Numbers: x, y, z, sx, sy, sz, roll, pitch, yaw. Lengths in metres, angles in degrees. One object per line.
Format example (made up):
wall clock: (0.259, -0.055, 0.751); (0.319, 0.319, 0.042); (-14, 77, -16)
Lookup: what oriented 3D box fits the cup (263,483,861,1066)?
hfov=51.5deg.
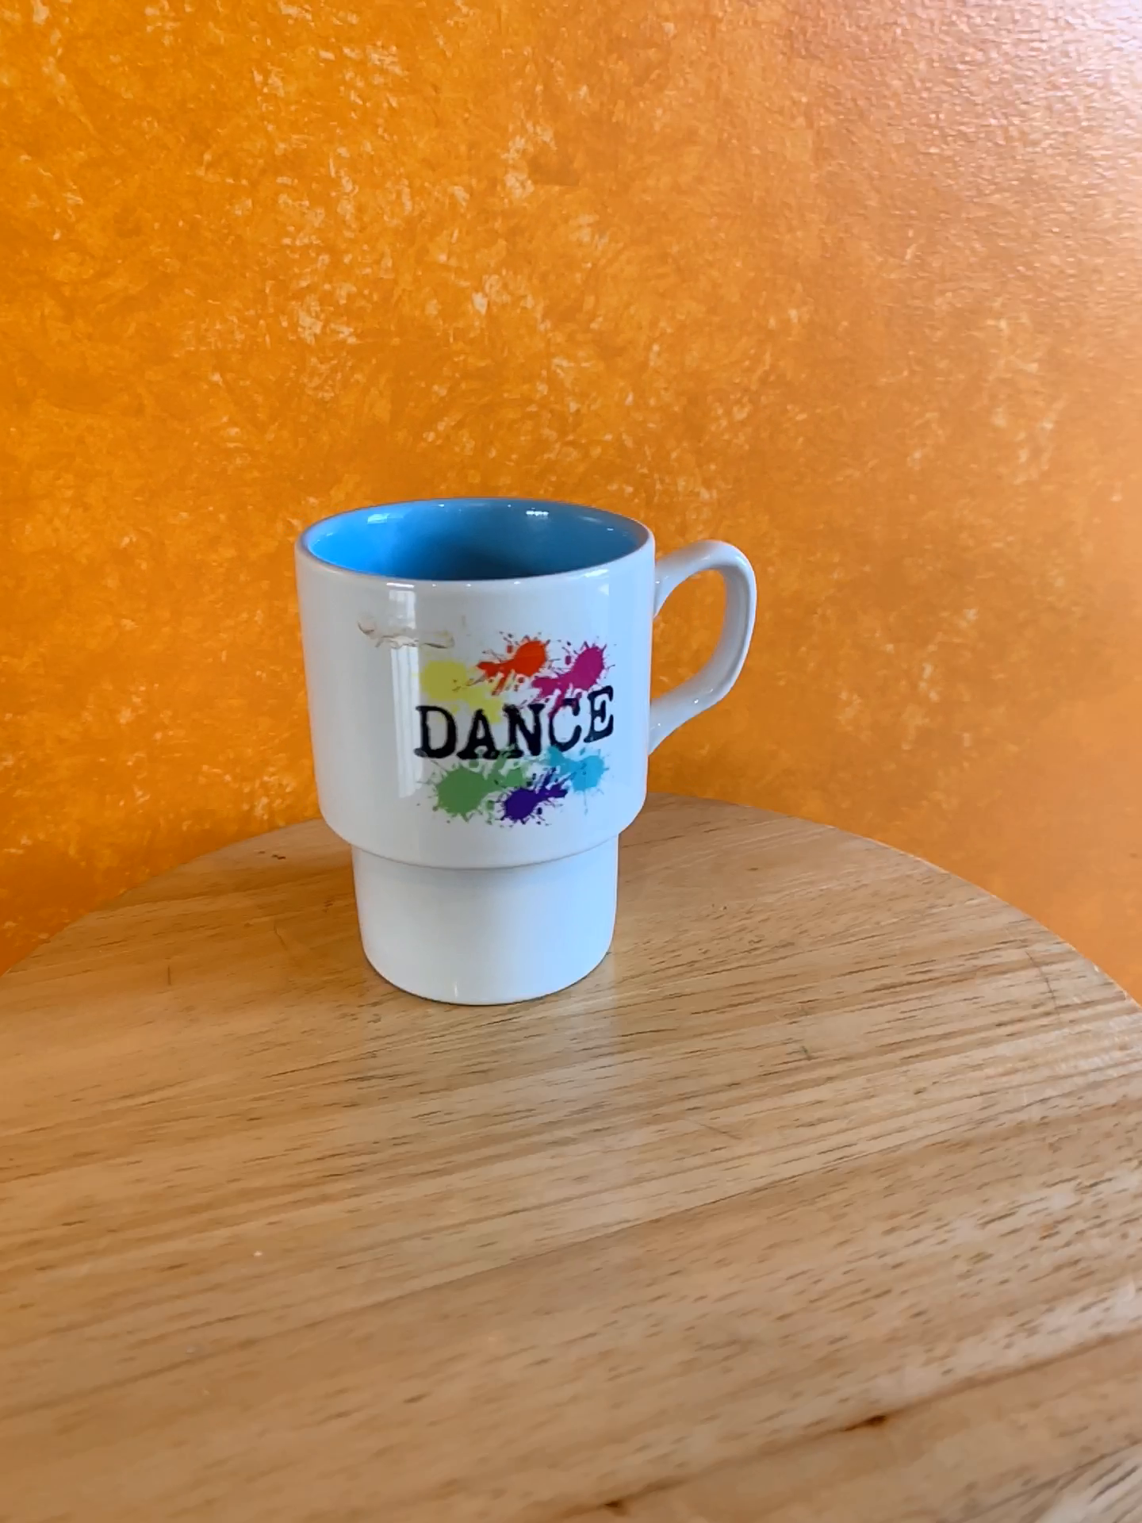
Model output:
cup: (-0.008, -0.003, 0.290); (0.120, 0.109, 0.080); (-5, 24, -11)
